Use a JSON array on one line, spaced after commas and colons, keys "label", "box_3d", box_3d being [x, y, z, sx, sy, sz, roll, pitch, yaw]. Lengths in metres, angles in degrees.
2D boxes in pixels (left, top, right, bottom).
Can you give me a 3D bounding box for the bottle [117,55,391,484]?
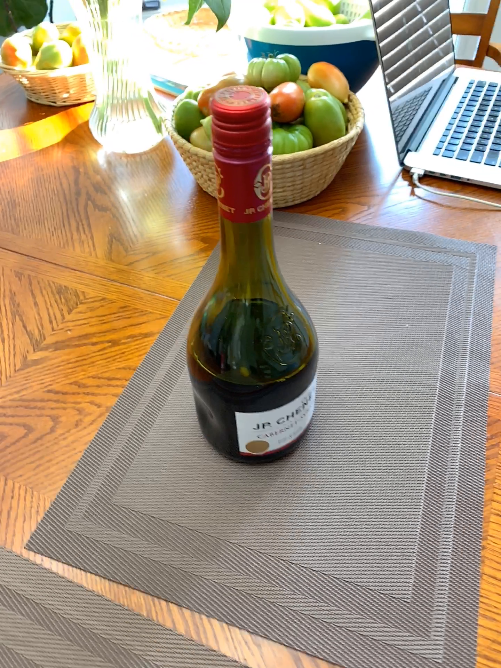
[{"label": "bottle", "box_3d": [0.001, -0.023, 0.345, 0.100, 0.258, 0.101, -1, 46, 1]}]
